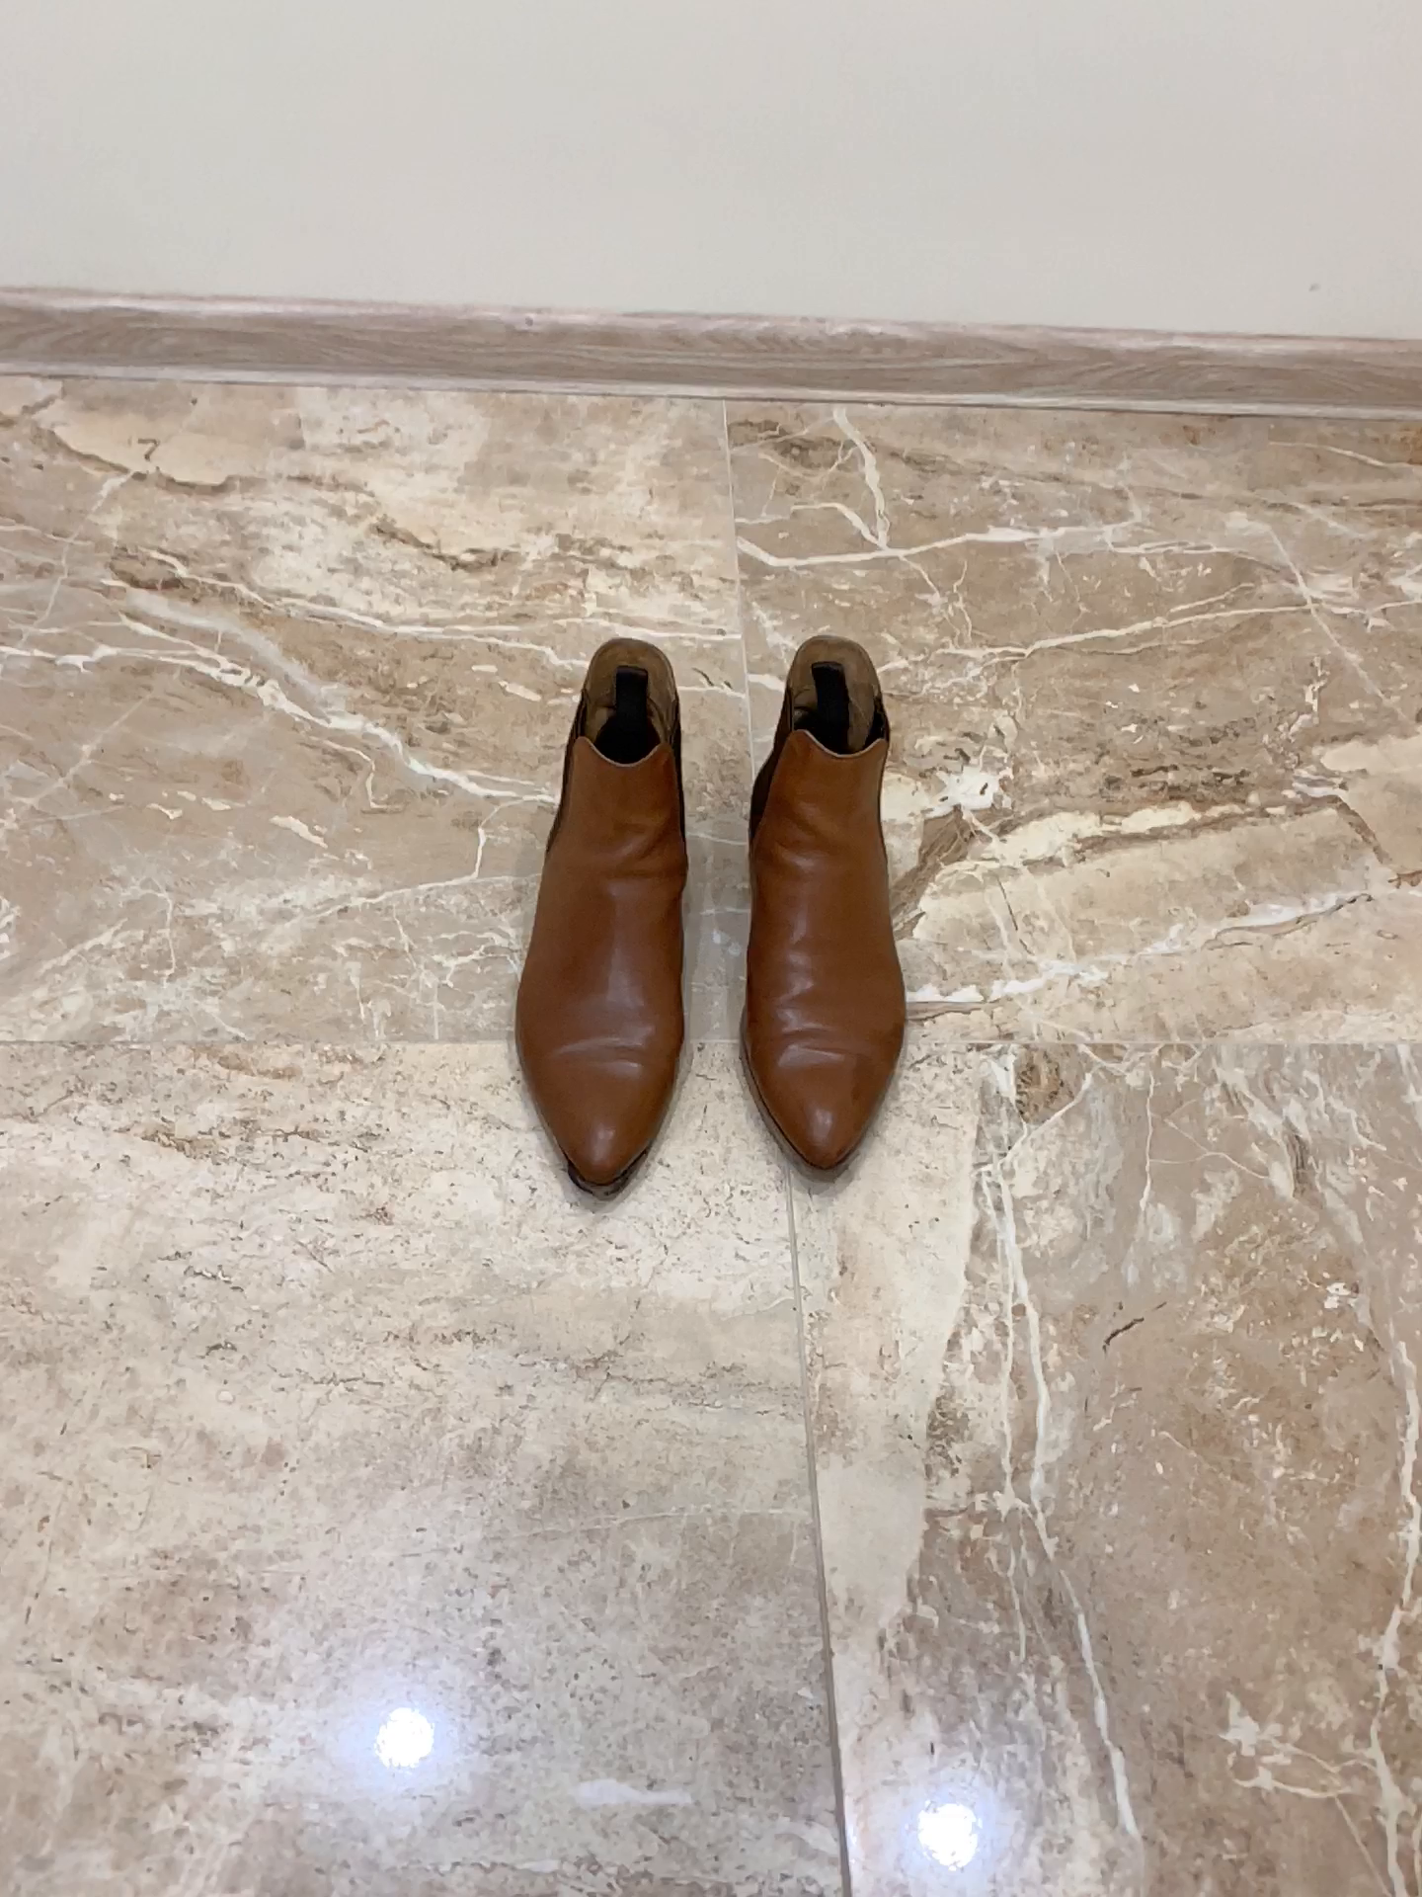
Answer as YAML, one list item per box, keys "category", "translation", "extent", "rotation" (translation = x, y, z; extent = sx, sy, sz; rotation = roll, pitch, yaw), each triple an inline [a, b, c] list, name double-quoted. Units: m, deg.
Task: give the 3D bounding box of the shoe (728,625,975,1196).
- category: "shoe"
  translation: [0.063, -0.024, 0.704]
  extent: [0.090, 0.119, 0.251]
  rotation: [5, 52, -1]

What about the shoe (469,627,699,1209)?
- category: "shoe"
  translation: [-0.055, -0.019, 0.699]
  extent: [0.090, 0.129, 0.251]
  rotation: [2, 52, -3]
